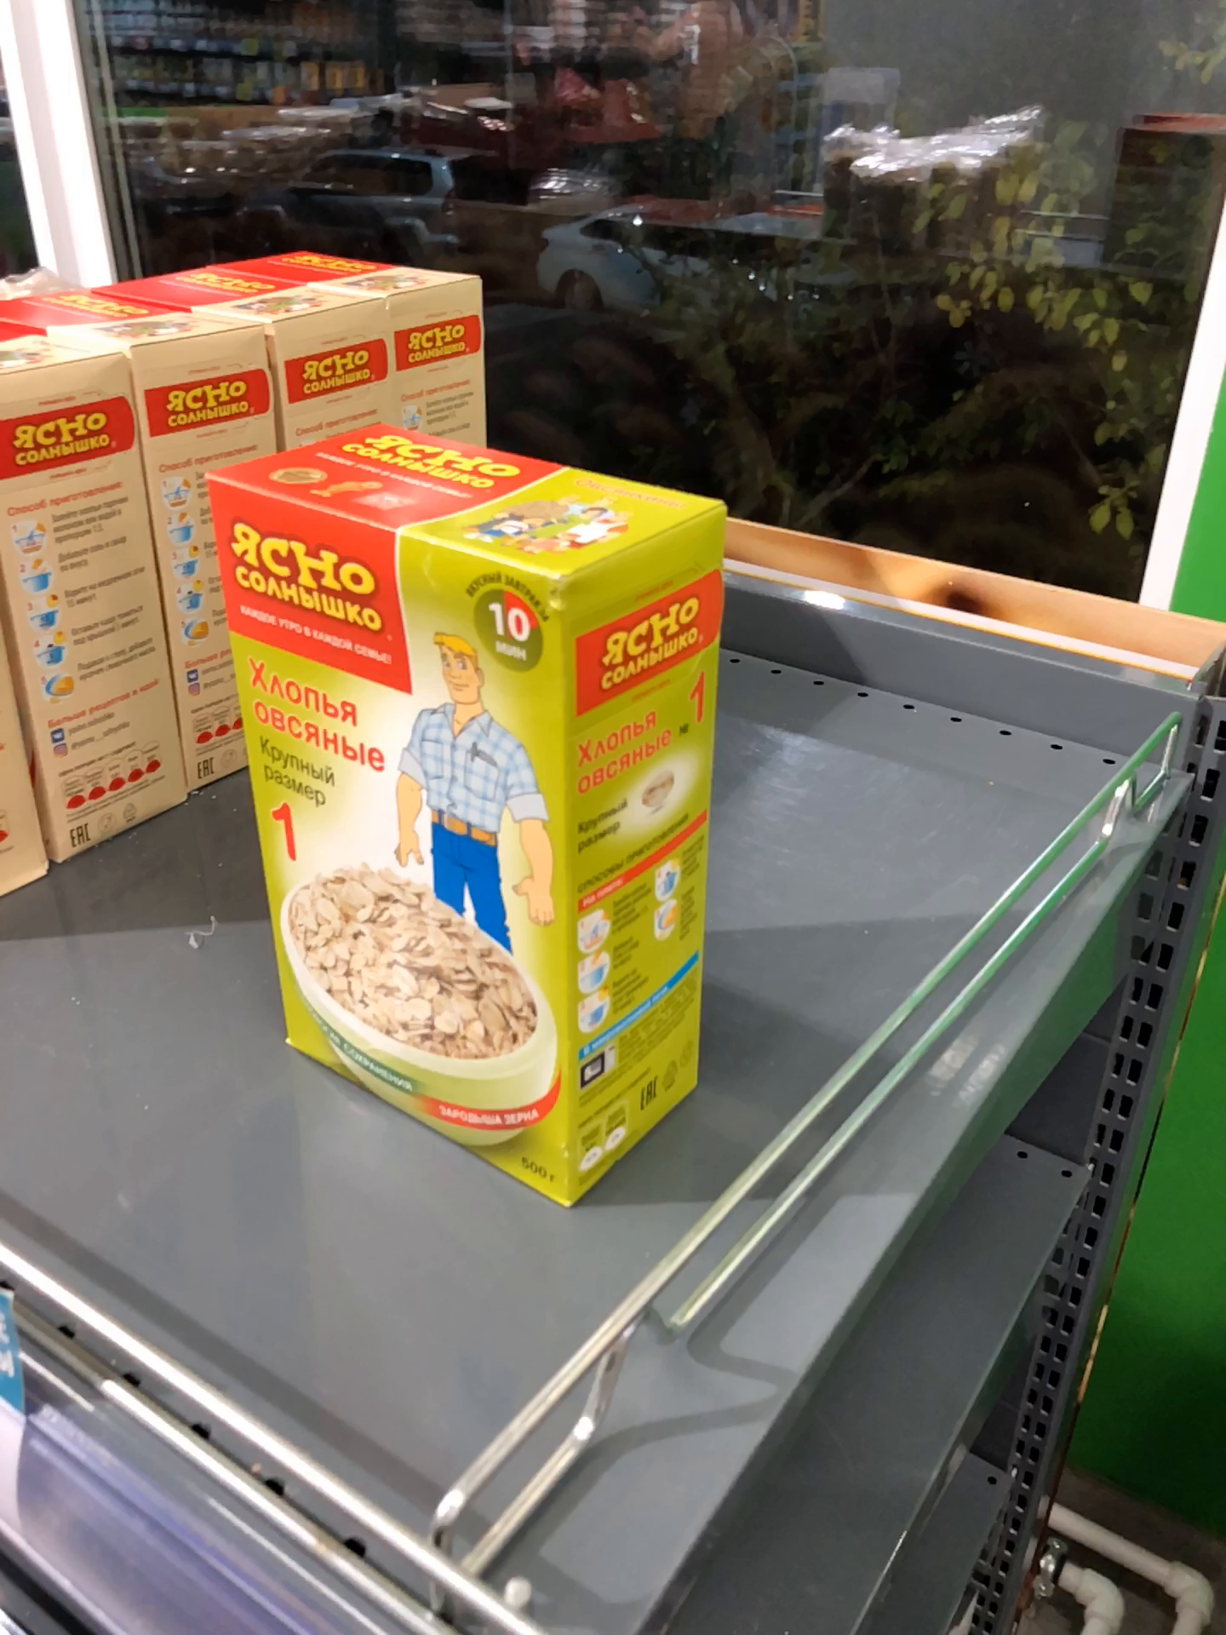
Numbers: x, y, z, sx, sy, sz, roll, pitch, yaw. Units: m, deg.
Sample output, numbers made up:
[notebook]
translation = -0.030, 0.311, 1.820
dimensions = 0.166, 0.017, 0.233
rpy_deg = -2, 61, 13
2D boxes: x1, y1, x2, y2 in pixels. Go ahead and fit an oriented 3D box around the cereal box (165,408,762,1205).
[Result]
[cereal box]
translation = -0.040, -0.008, 0.384
dimensions = 0.130, 0.179, 0.080
rpy_deg = 21, 36, 31
